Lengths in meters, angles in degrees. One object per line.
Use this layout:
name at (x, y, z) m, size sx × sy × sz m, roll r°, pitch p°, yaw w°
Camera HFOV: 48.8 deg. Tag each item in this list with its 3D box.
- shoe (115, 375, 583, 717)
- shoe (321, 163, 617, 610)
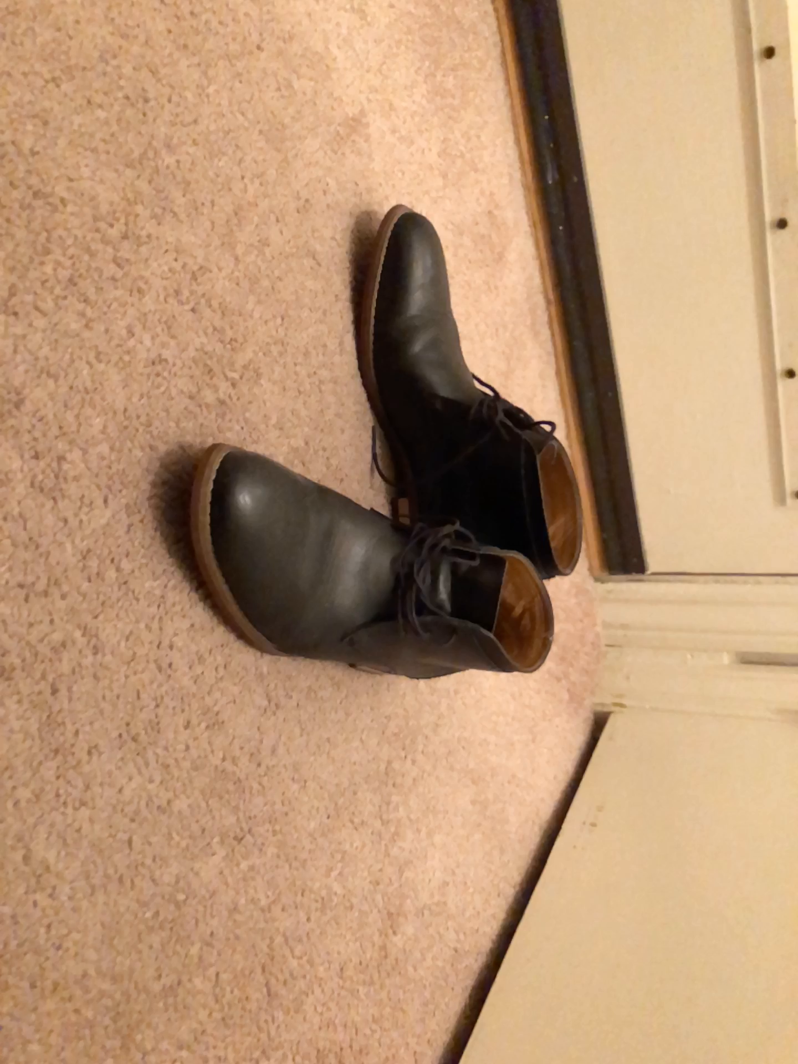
shoe at (-0.003, 0.030, 0.549) m, size 0.303 × 0.135 × 0.116 m, roll 33°, pitch 61°, yaw -55°
shoe at (0.065, -0.103, 0.673) m, size 0.117 × 0.135 × 0.302 m, roll -42°, pitch 125°, yaw -52°
